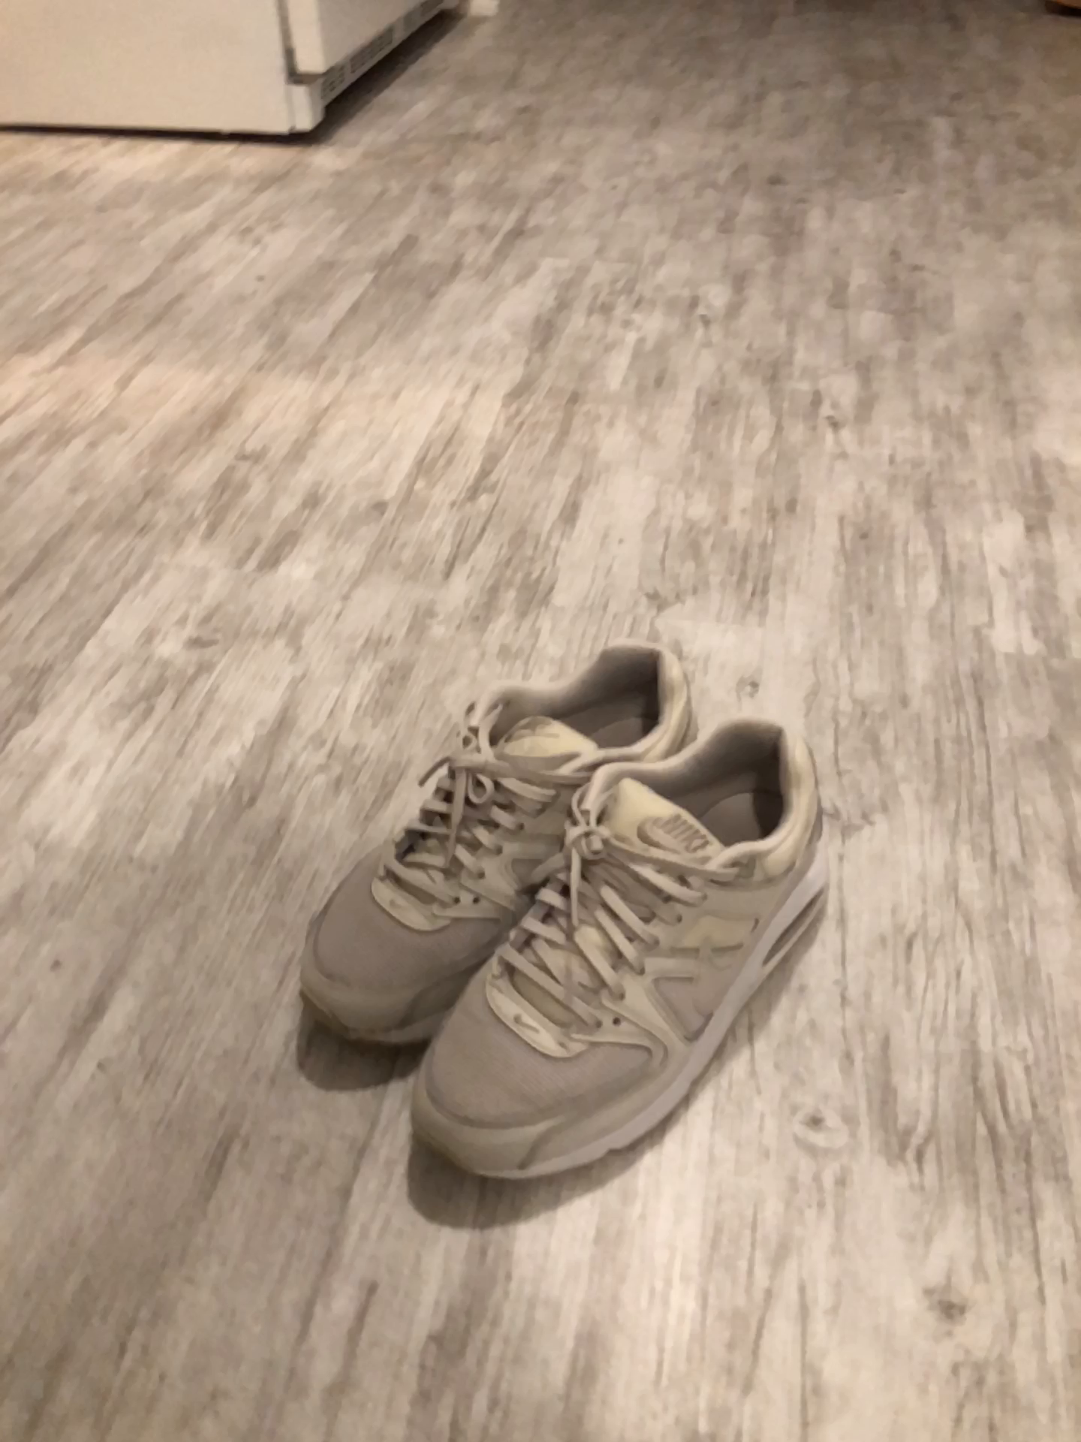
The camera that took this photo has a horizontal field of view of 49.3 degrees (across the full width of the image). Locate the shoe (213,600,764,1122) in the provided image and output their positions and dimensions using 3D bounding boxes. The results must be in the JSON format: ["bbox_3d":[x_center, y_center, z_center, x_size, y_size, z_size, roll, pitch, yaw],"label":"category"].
[{"bbox_3d":[-0.014,0.058,0.577,0.250,0.120,0.090,-30,48,-28],"label":"shoe"}]

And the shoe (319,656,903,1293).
[{"bbox_3d":[0.041,0.097,0.520,0.100,0.120,0.250,30,51,32],"label":"shoe"}]
